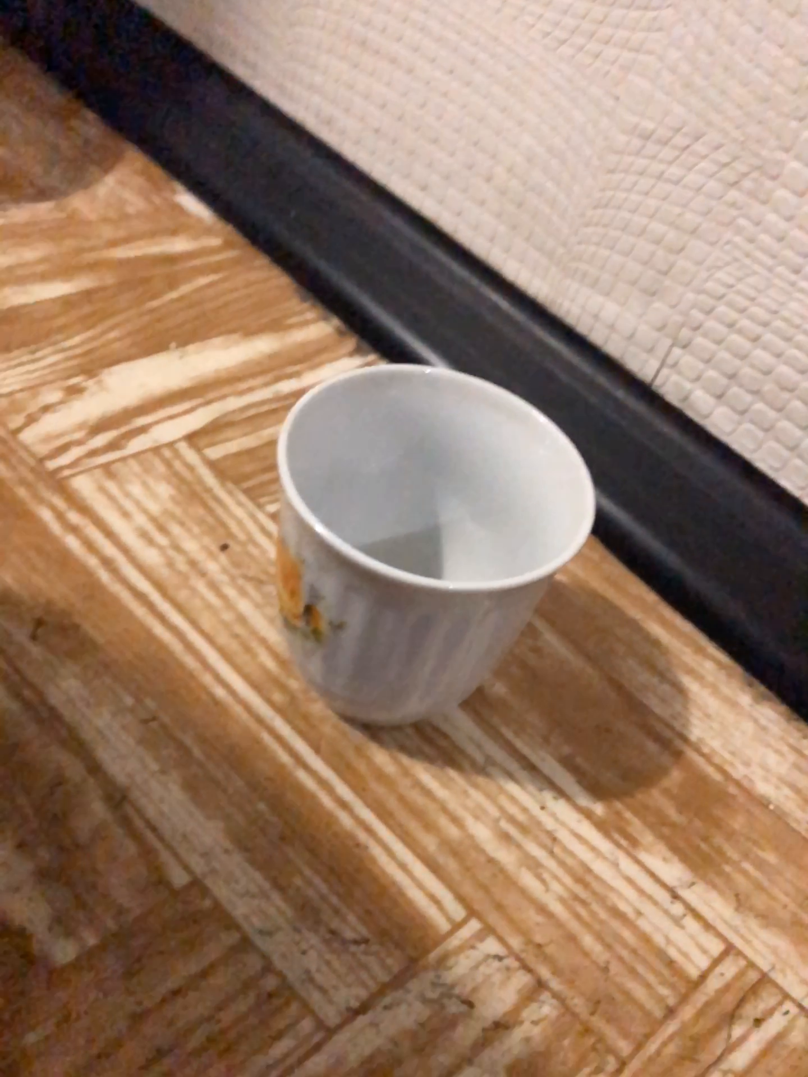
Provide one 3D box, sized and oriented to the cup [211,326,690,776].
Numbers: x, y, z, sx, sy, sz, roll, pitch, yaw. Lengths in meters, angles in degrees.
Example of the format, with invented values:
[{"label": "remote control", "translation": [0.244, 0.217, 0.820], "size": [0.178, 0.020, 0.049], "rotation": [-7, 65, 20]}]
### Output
[{"label": "cup", "translation": [0.003, -0.002, 0.252], "size": [0.094, 0.068, 0.097], "rotation": [9, 46, -9]}]
